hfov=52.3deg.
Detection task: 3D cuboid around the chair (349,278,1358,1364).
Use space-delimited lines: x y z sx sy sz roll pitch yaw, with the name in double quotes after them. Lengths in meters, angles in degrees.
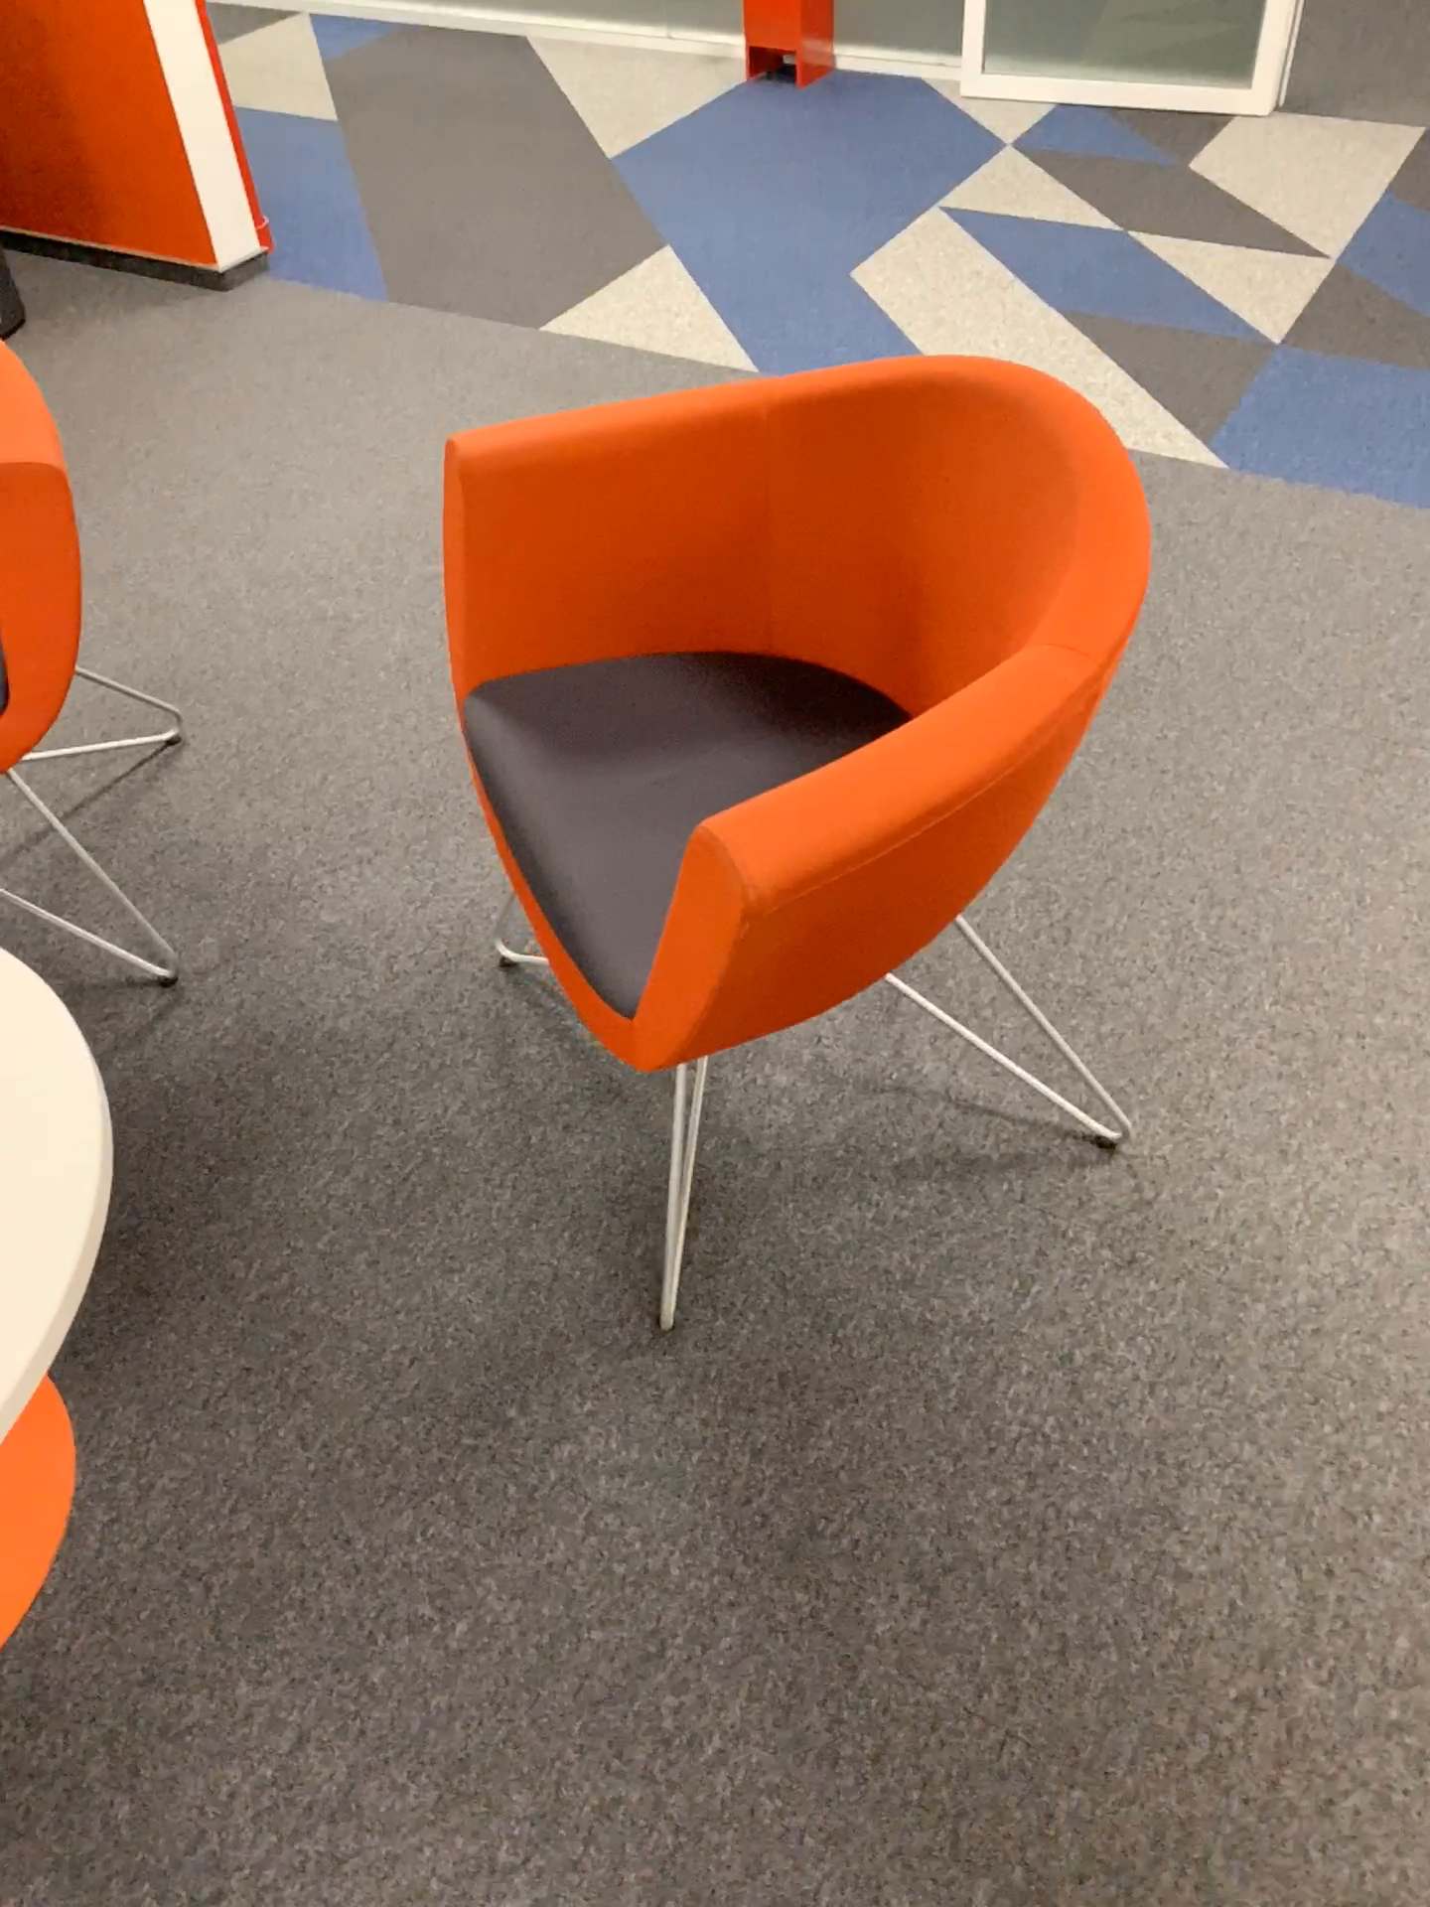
0.086 -0.148 1.465 0.620 0.706 0.643 -18 47 -13 "chair"
